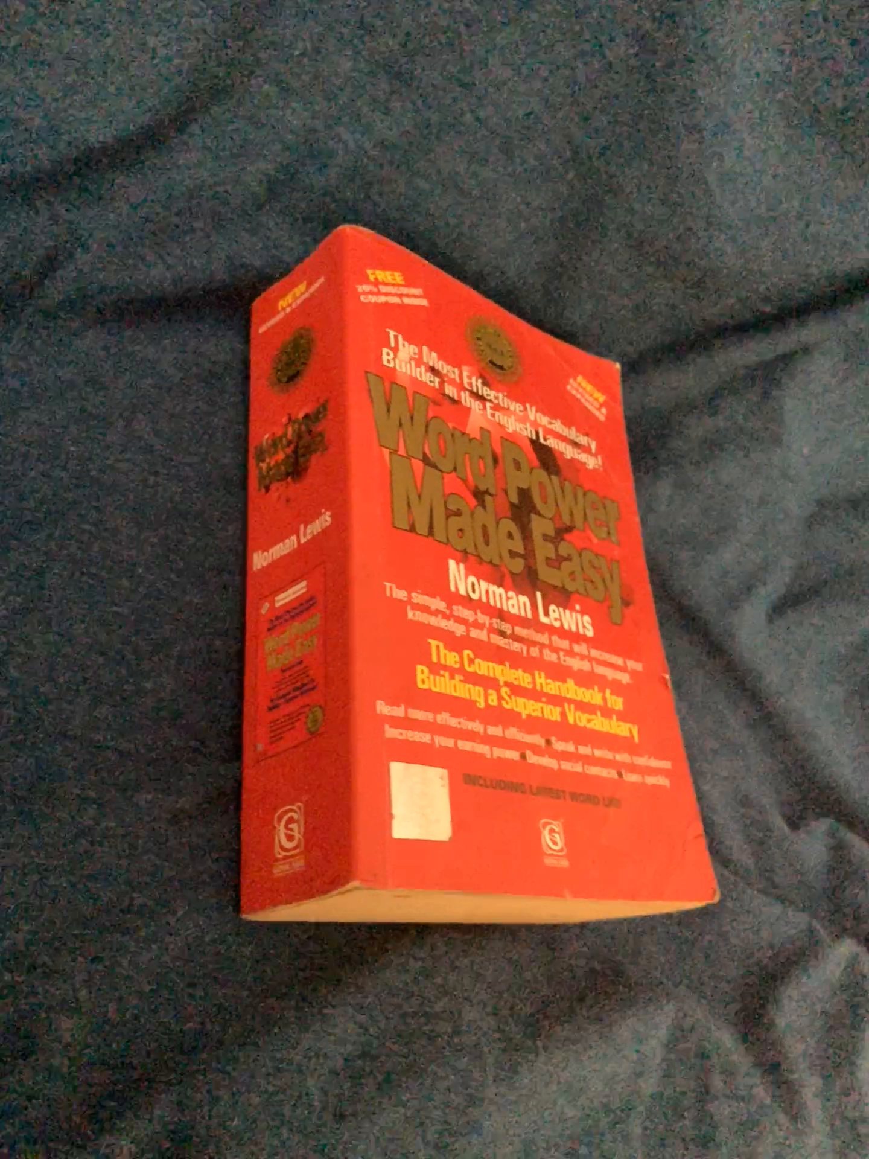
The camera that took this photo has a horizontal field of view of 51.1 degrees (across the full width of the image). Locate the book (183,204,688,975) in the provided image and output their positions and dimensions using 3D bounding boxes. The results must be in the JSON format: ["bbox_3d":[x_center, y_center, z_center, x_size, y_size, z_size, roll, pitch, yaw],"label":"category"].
[{"bbox_3d":[0.007,0.007,0.263,0.120,0.050,0.190,23,56,-37],"label":"book"}]
